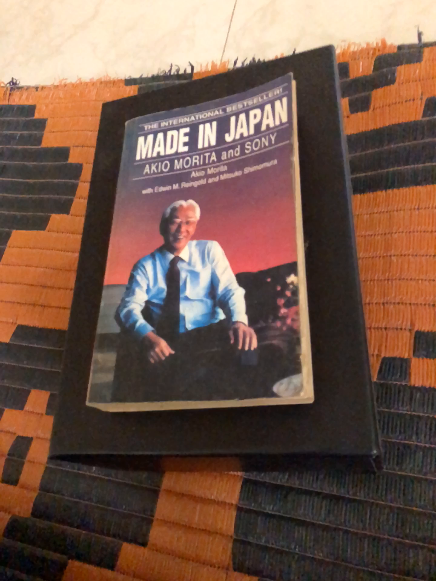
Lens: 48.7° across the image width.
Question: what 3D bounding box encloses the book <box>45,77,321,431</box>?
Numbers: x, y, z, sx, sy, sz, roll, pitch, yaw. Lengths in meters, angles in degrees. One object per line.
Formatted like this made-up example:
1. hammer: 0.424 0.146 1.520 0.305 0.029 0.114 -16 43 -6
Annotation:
1. book: -0.015 -0.019 0.246 0.120 0.030 0.170 -7 65 20
